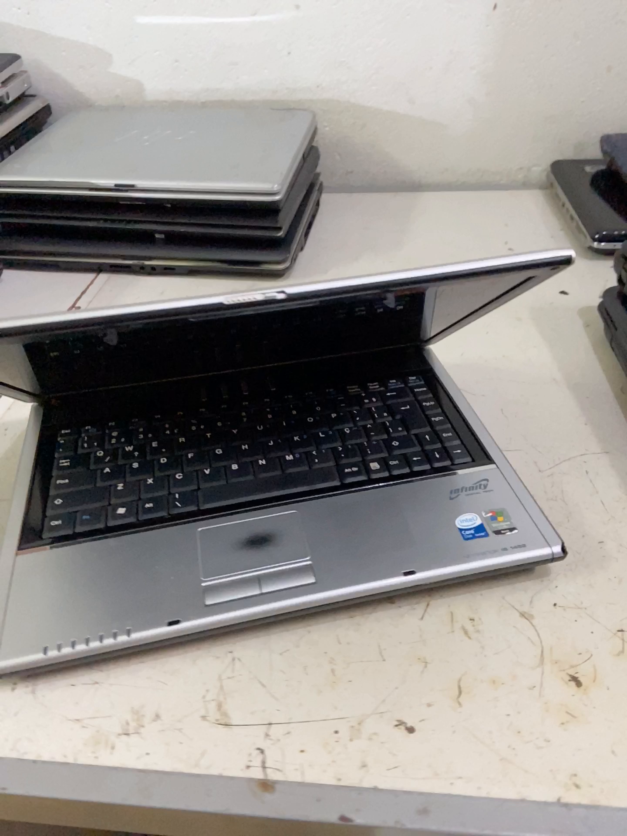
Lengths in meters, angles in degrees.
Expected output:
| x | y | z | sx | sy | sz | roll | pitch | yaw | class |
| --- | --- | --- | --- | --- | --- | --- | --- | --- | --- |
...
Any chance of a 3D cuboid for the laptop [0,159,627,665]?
| x | y | z | sx | sy | sz | roll | pitch | yaw | class |
| --- | --- | --- | --- | --- | --- | --- | --- | --- | --- |
| -0.037 | -0.028 | 0.402 | 0.330 | 0.164 | 0.228 | -9 | 39 | -9 | laptop |
